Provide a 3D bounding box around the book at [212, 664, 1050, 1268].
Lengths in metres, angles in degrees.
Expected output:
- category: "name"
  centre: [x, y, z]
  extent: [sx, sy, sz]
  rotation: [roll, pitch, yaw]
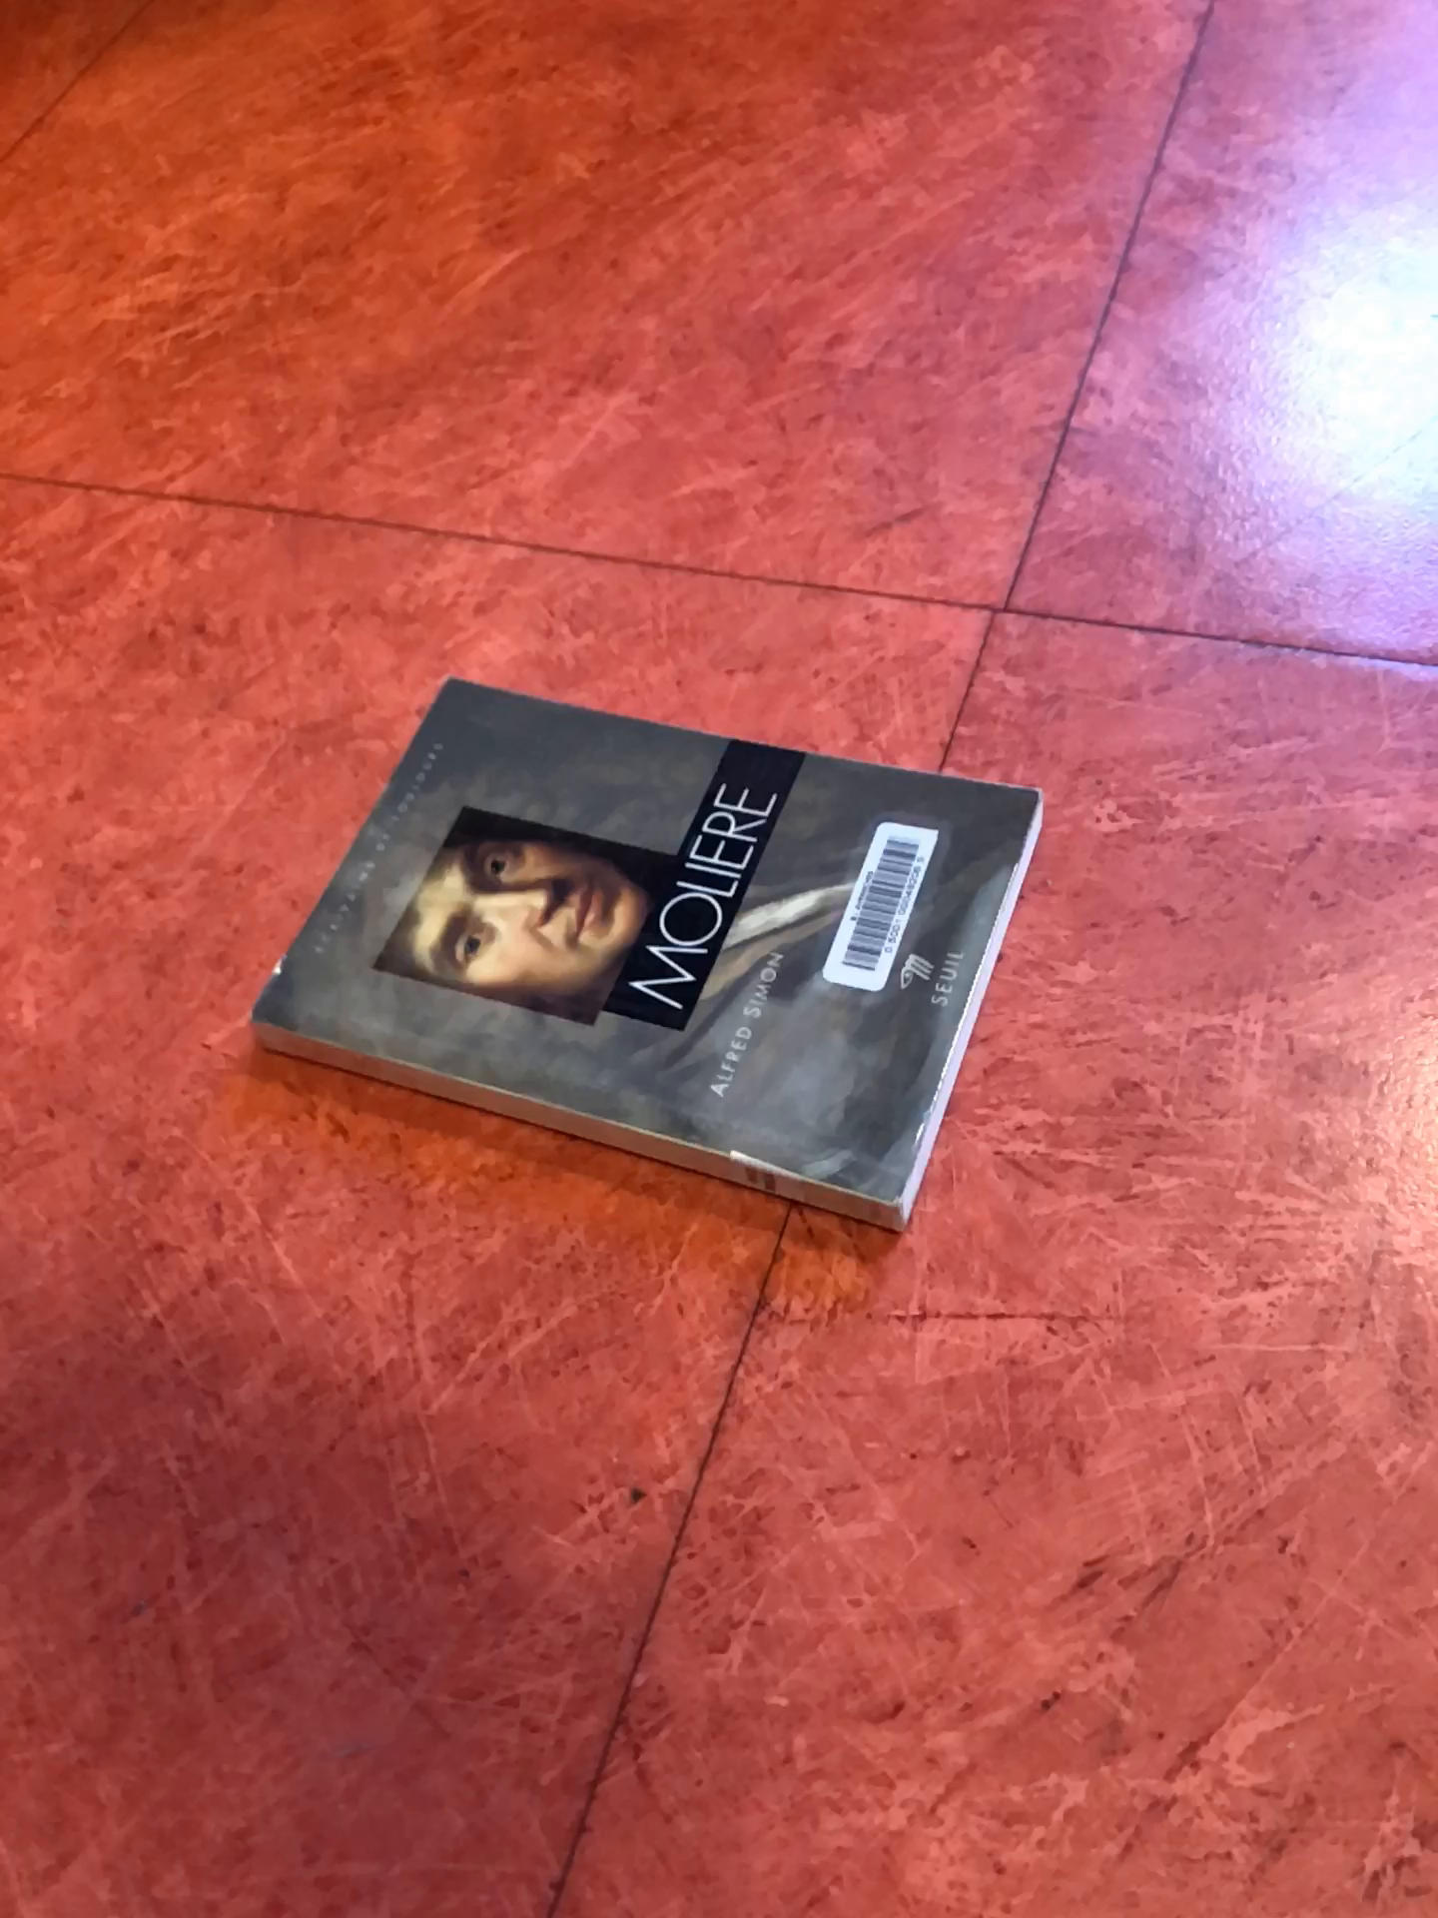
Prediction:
- category: "book"
  centre: [-0.021, -0.008, 0.416]
  extent: [0.183, 0.015, 0.135]
  rotation: [13, 61, 18]
